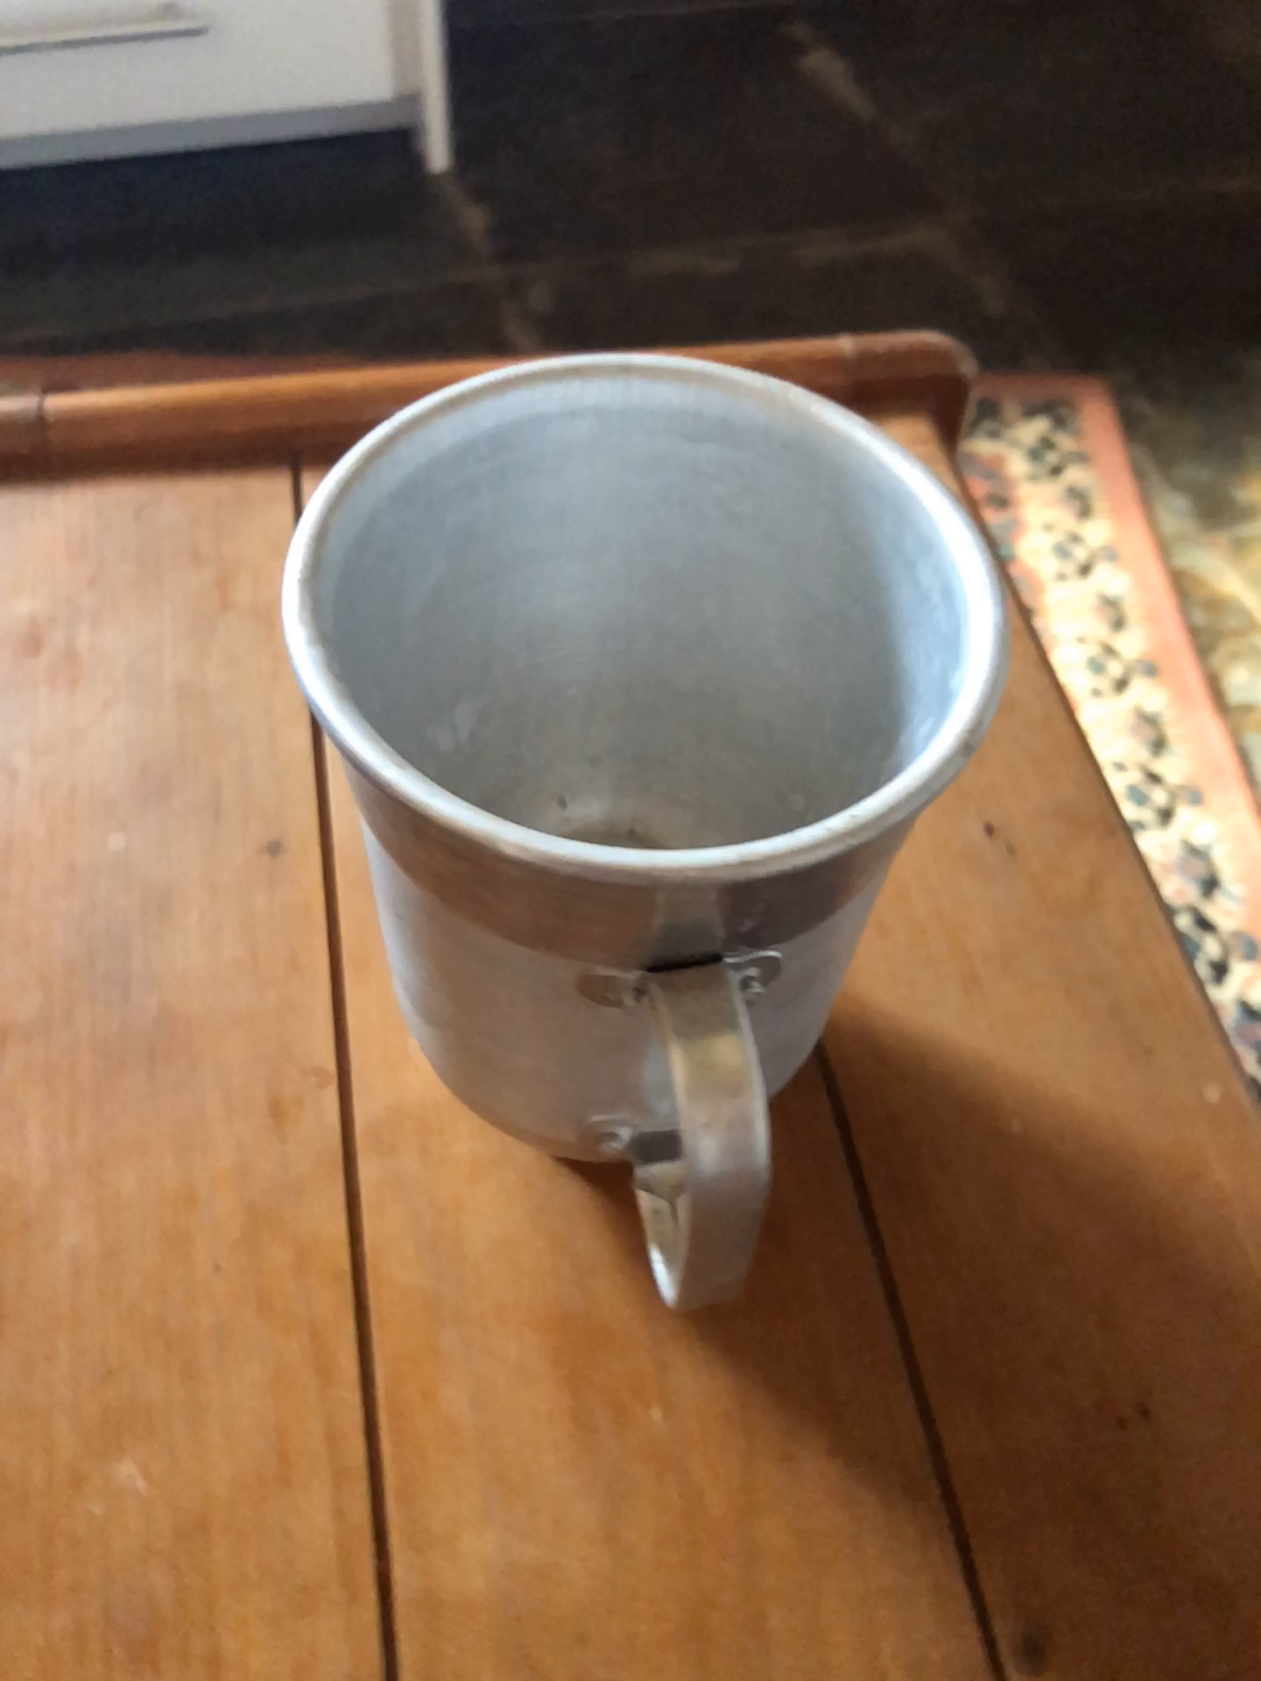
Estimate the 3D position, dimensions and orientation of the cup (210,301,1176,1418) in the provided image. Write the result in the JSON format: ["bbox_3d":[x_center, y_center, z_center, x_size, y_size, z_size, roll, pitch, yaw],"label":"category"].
[{"bbox_3d":[-0.004,0.007,0.231,0.100,0.129,0.121,-6,55,-8],"label":"cup"}]
